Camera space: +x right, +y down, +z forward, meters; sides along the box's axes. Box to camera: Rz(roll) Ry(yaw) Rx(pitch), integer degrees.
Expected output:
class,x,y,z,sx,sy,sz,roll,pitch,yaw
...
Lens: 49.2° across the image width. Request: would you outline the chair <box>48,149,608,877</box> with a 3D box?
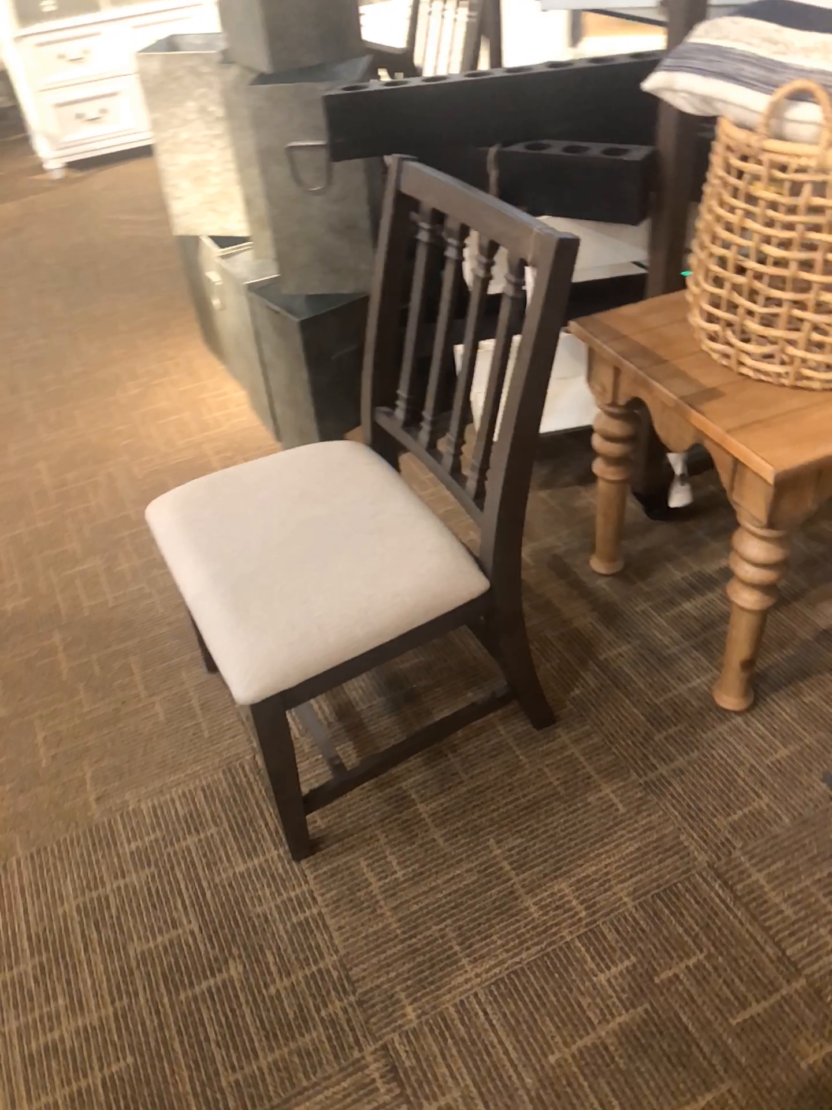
class,x,y,z,sx,sy,sz,roll,pitch,yaw
chair,-0.120,-0.074,1.511,0.600,0.905,0.583,-19,41,-16
